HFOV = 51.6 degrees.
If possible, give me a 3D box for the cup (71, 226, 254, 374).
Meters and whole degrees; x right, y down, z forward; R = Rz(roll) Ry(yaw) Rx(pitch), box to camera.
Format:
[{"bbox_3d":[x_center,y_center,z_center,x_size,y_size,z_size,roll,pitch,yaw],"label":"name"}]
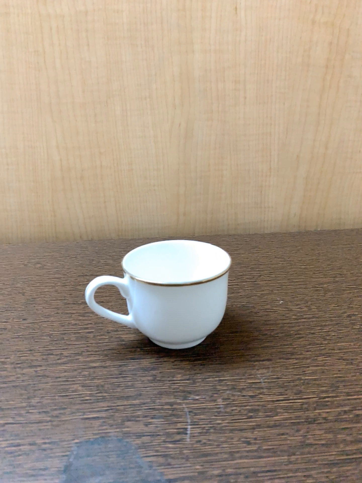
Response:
[{"bbox_3d":[-0.014,0.028,0.218,0.090,0.050,0.060,-6,20,-16],"label":"cup"}]
